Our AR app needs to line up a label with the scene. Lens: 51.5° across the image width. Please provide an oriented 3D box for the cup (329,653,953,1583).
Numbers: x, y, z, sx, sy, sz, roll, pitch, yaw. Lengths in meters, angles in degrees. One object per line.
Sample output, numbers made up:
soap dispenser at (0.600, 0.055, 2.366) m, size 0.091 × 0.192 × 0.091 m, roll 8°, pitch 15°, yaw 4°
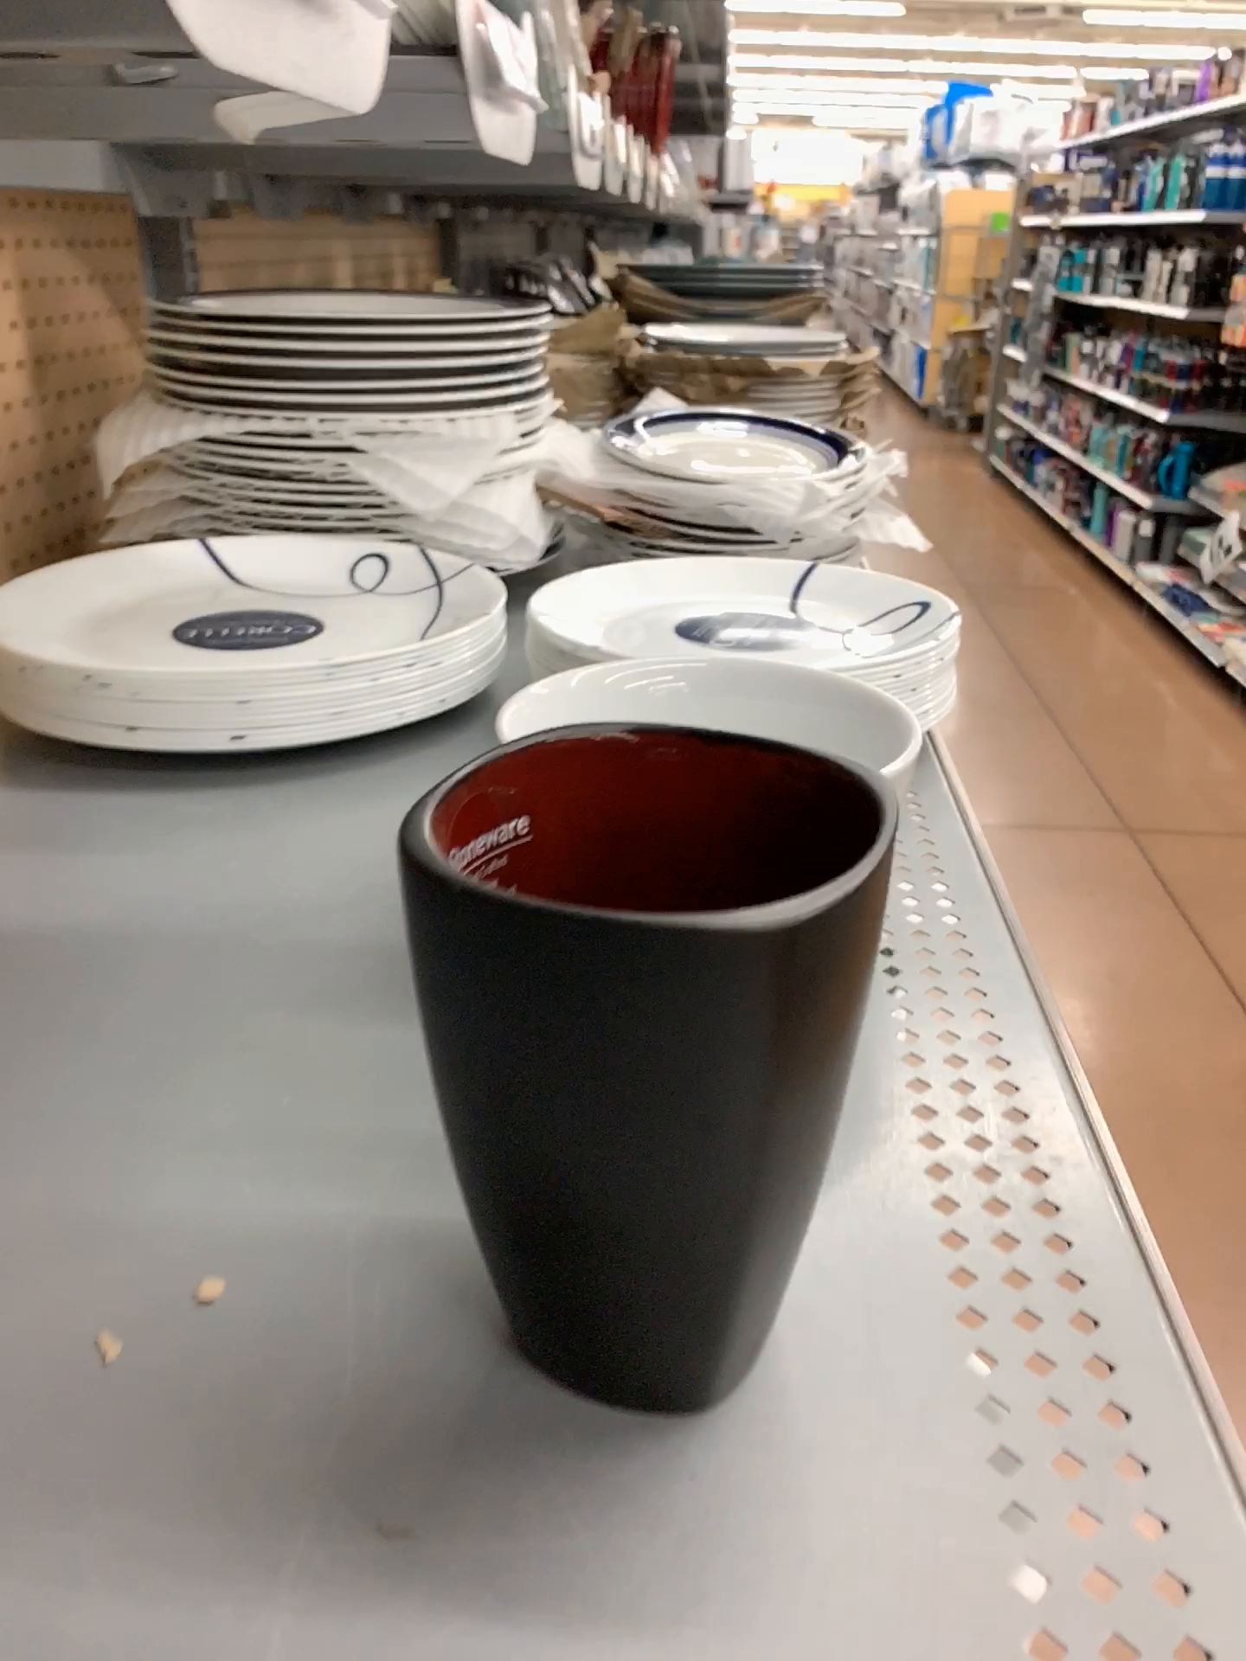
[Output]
cup at (0.014, 0.047, 0.278) m, size 0.090 × 0.129 × 0.131 m, roll 7°, pitch 26°, yaw 14°
